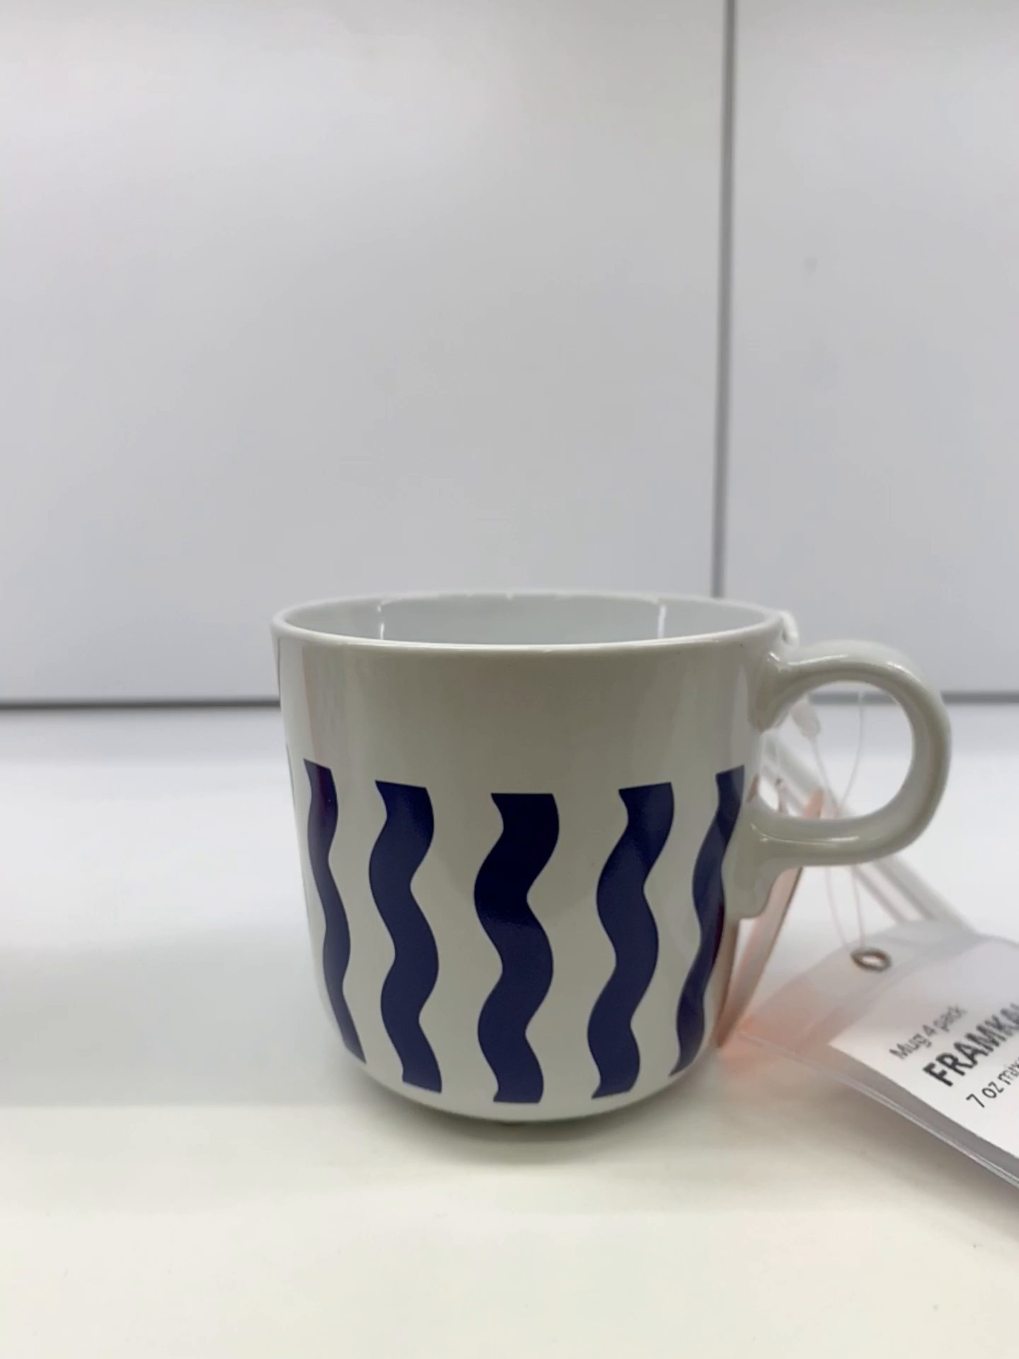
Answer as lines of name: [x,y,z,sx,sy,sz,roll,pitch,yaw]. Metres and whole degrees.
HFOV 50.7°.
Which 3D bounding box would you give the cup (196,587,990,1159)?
cup: [0.011,0.024,0.180,0.101,0.071,0.076,-1,9,0]
